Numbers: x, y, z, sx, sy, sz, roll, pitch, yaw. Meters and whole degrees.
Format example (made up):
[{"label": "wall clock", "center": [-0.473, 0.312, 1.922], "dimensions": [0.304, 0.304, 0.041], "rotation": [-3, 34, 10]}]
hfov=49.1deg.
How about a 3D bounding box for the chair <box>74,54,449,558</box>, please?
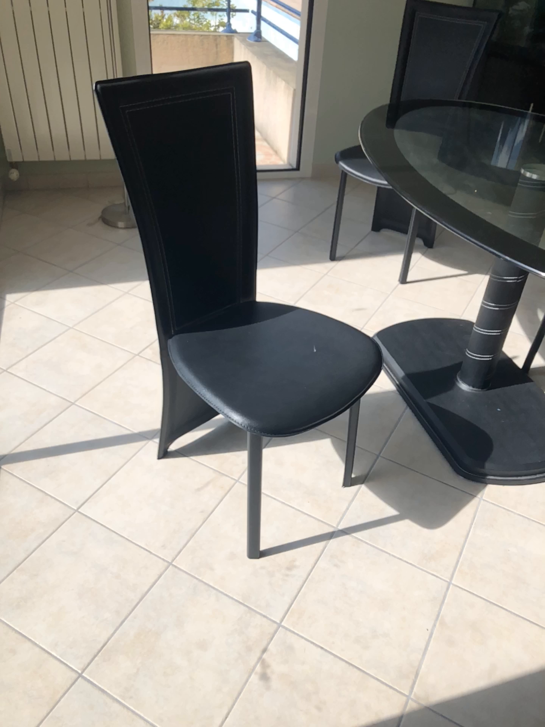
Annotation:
[{"label": "chair", "center": [-0.038, -0.134, 1.327], "dimensions": [0.452, 0.895, 0.501], "rotation": [-29, 46, -36]}]
